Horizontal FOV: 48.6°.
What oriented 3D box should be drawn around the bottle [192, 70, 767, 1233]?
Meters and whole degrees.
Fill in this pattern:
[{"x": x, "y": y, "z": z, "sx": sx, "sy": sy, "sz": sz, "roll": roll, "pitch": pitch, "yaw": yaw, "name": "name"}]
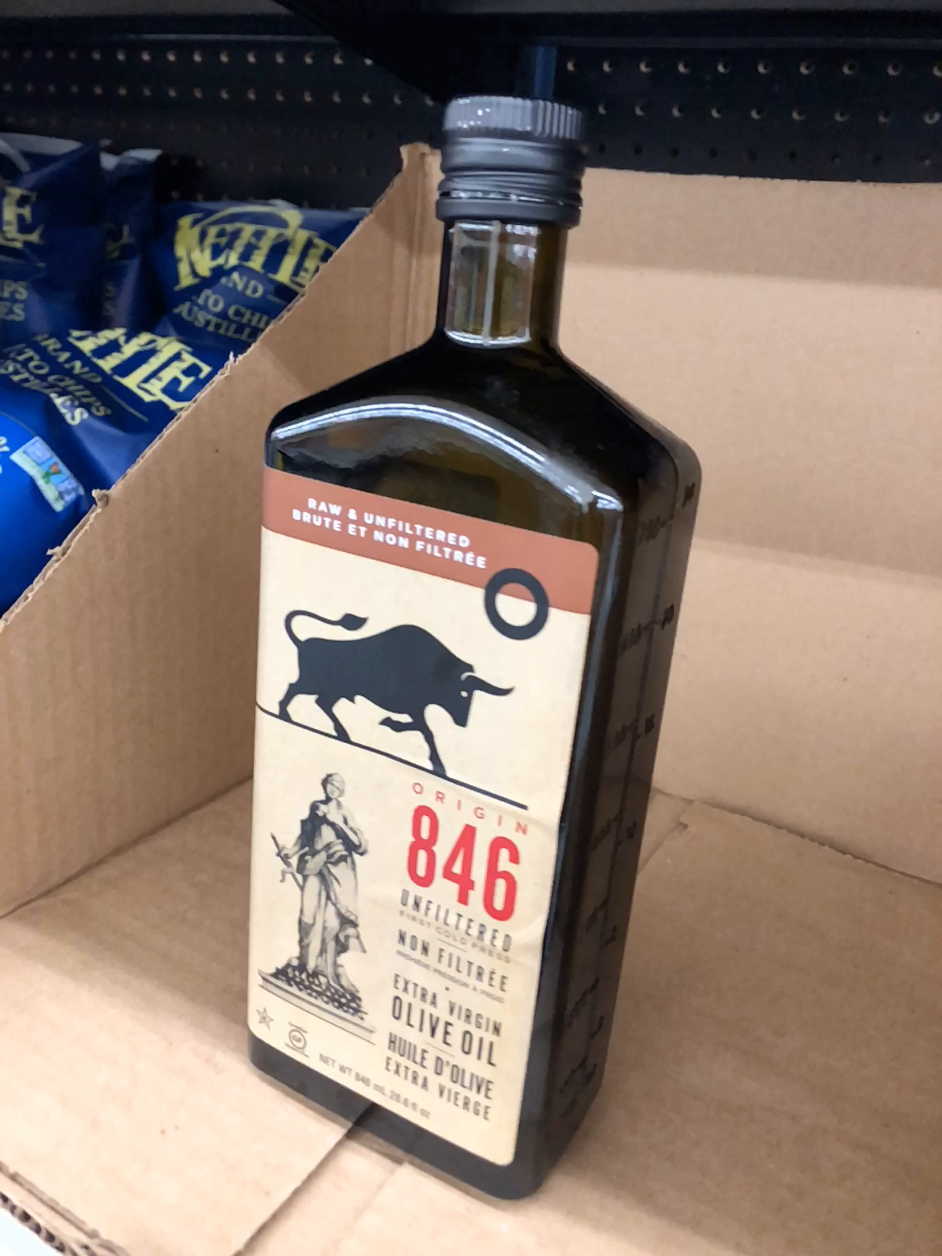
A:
[{"x": -0.006, "y": 0.009, "z": 0.254, "sx": 0.100, "sy": 0.248, "sz": 0.060, "roll": 15, "pitch": 23, "yaw": 26, "name": "bottle"}]
